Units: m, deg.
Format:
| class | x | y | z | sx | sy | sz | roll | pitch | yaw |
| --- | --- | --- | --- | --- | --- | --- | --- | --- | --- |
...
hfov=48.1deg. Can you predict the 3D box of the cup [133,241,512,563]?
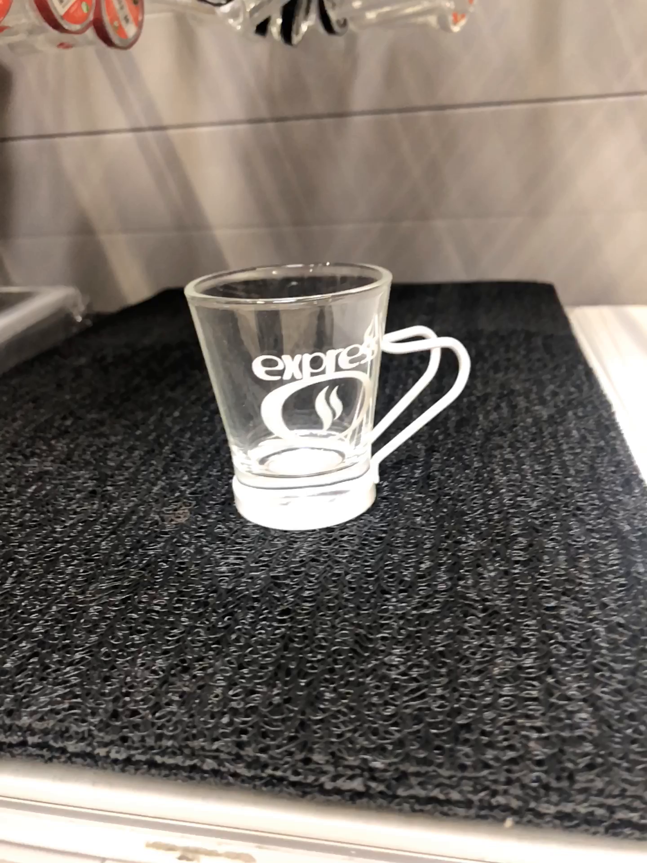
| class | x | y | z | sx | sy | sz | roll | pitch | yaw |
| --- | --- | --- | --- | --- | --- | --- | --- | --- | --- |
| cup | 0.001 | -0.016 | 0.222 | 0.093 | 0.063 | 0.059 | -17 | 29 | -29 |
